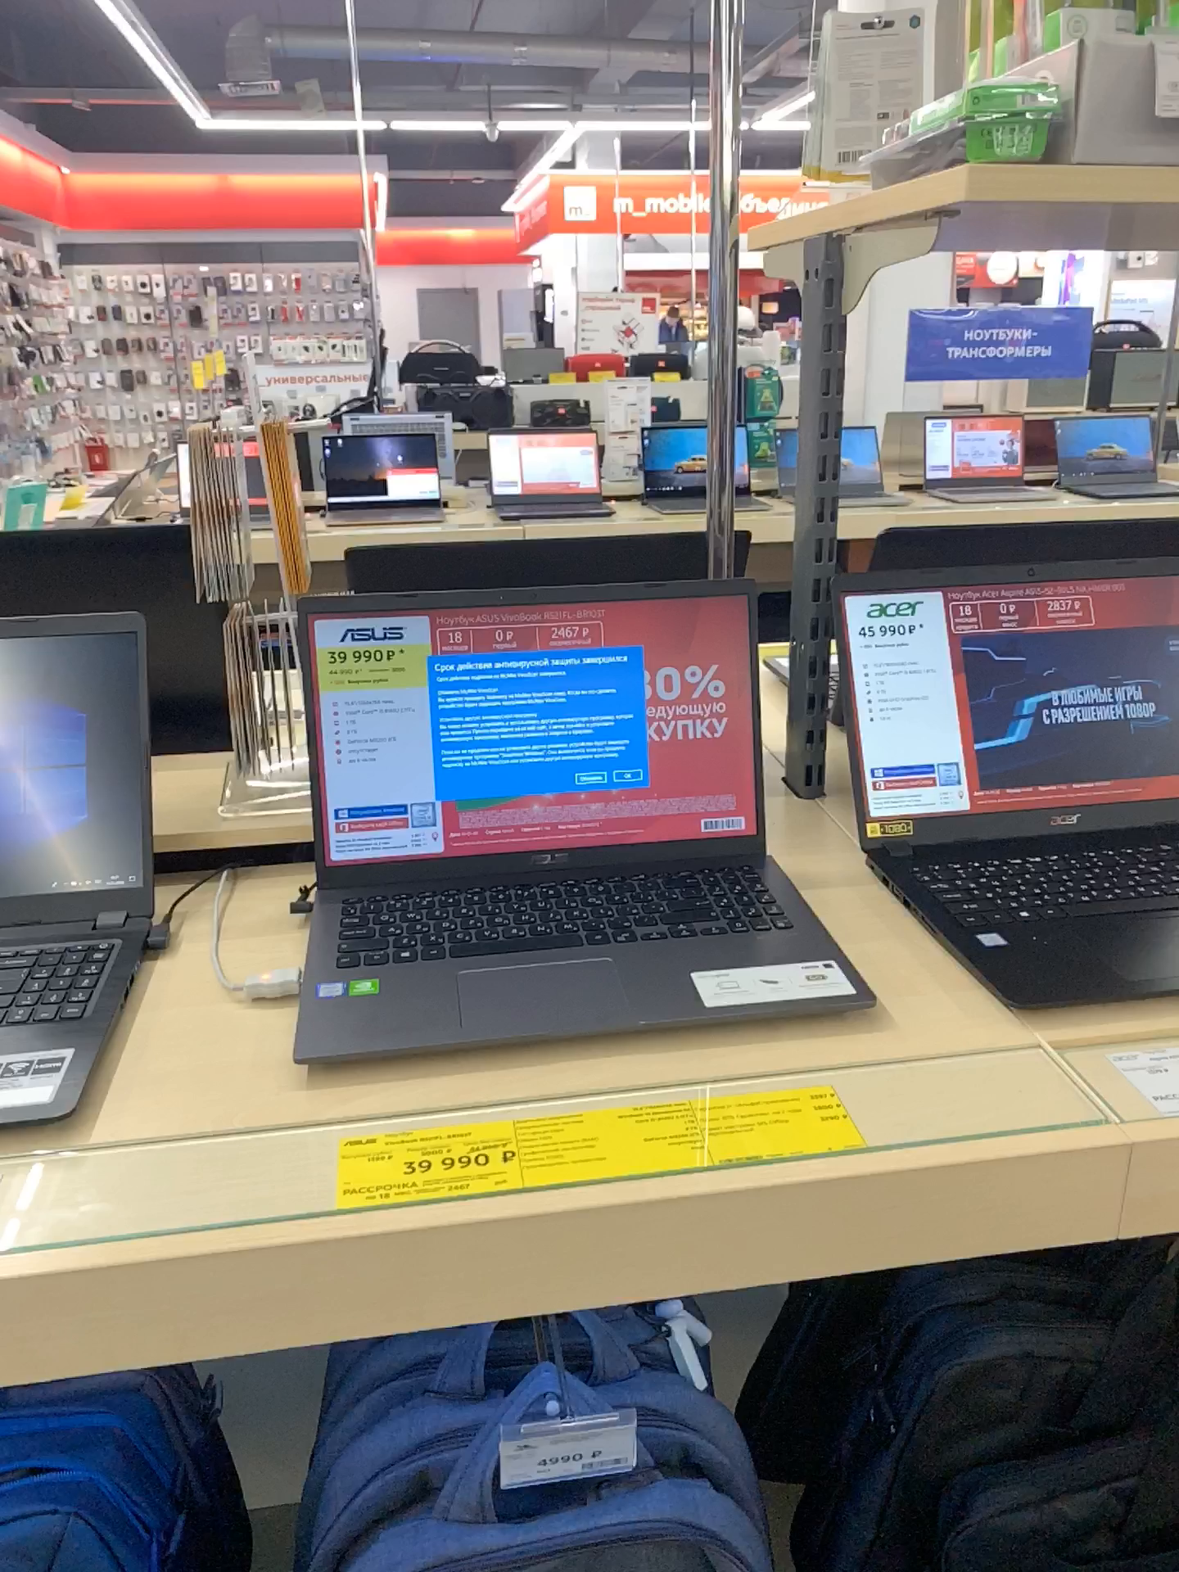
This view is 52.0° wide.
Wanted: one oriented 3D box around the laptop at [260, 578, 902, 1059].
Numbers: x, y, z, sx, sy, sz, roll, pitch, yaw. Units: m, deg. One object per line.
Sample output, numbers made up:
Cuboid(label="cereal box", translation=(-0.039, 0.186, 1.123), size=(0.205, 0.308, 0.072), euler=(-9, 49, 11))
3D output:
Cuboid(label="laptop", translation=(-0.018, -0.003, 0.853), size=(0.366, 0.217, 0.299), euler=(-4, 20, -8))

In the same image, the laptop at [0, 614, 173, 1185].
Cuboid(label="laptop", translation=(-0.498, 0.035, 0.782), size=(0.349, 0.214, 0.362), euler=(-3, 19, -9))
